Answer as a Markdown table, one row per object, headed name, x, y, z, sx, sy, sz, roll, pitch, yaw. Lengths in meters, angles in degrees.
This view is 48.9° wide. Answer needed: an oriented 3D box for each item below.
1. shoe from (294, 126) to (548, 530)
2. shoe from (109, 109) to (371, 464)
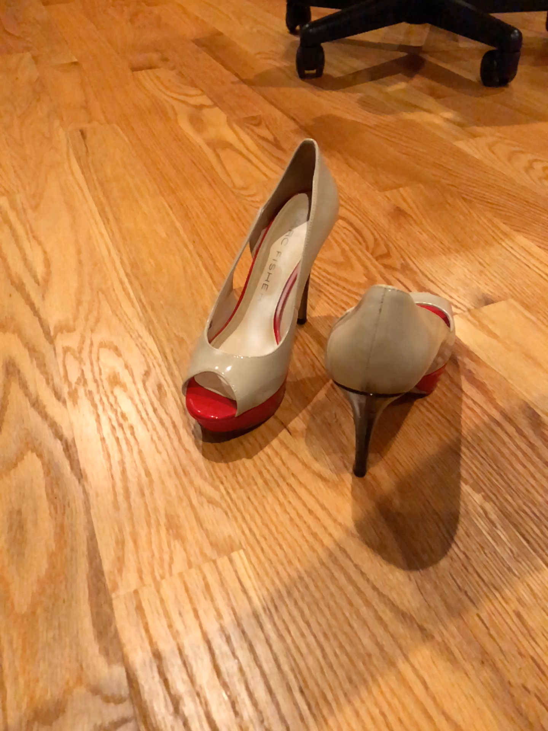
| name | x | y | z | sx | sy | sz | roll | pitch | yaw |
| --- | --- | --- | --- | --- | --- | --- | --- | --- | --- |
| shoe | 0.097 | -0.037 | 0.367 | 0.085 | 0.129 | 0.216 | 16 | 45 | 21 |
| shoe | -0.005 | -0.069 | 0.439 | 0.080 | 0.149 | 0.221 | 14 | 45 | 19 |
